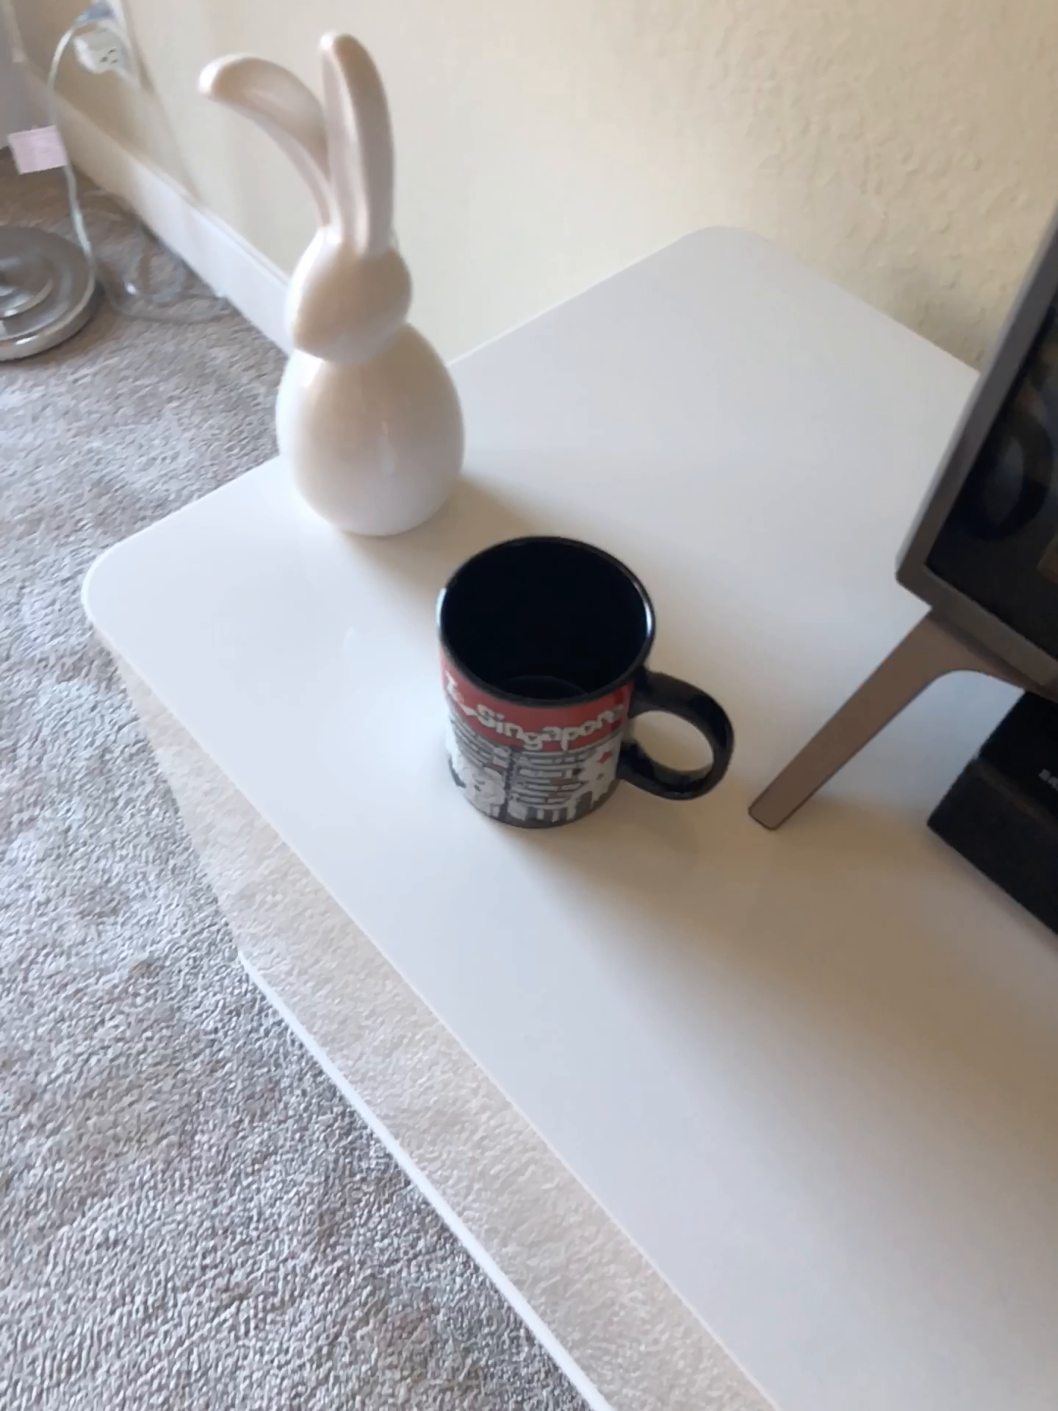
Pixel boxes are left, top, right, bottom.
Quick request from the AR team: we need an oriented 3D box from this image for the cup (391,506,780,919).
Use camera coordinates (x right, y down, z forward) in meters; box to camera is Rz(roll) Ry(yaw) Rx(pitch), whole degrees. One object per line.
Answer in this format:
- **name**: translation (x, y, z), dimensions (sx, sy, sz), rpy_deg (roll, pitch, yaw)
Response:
- **cup**: translation (0.019, 0.005, 0.470), dimensions (0.120, 0.110, 0.080), rpy_deg (23, 57, 13)
